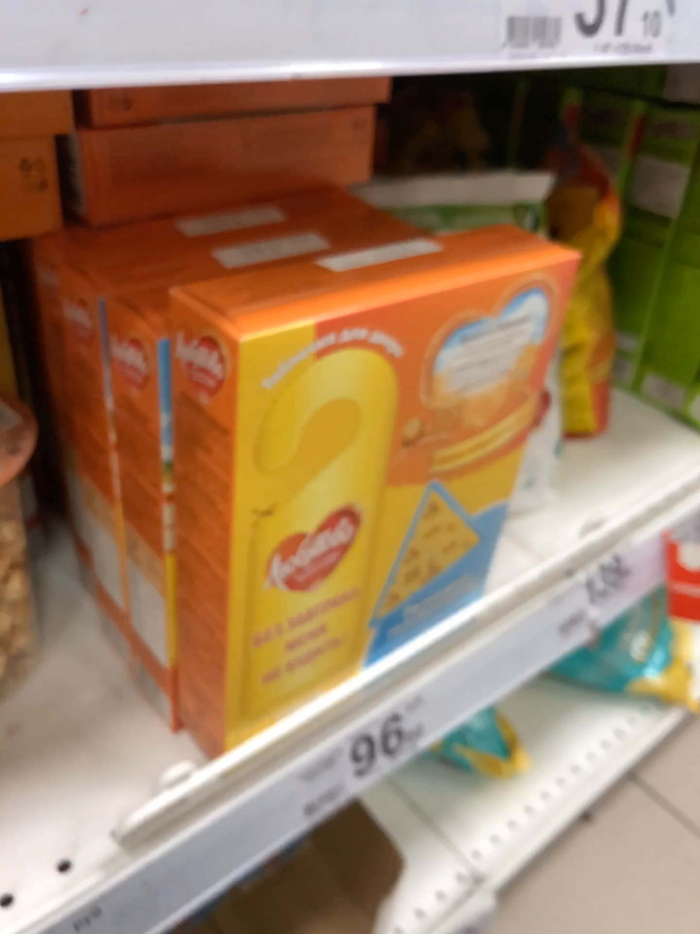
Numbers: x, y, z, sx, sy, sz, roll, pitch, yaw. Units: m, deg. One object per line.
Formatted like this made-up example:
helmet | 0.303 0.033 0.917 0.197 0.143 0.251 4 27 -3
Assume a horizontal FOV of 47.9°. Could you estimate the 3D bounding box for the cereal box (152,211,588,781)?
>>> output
cereal box | 0.006 0.013 0.369 0.181 0.228 0.050 -22 45 -35
